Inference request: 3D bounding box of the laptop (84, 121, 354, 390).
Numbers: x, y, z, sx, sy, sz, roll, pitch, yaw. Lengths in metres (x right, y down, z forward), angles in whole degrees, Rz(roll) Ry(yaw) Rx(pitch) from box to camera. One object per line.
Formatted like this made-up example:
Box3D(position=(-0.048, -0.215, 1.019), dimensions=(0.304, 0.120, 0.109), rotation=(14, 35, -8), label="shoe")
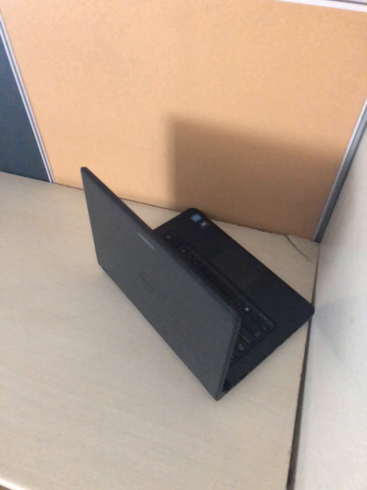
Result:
Box3D(position=(0.038, 0.003, 0.622), dimensions=(0.214, 0.211, 0.305), rotation=(-32, 57, -24), label="laptop")
